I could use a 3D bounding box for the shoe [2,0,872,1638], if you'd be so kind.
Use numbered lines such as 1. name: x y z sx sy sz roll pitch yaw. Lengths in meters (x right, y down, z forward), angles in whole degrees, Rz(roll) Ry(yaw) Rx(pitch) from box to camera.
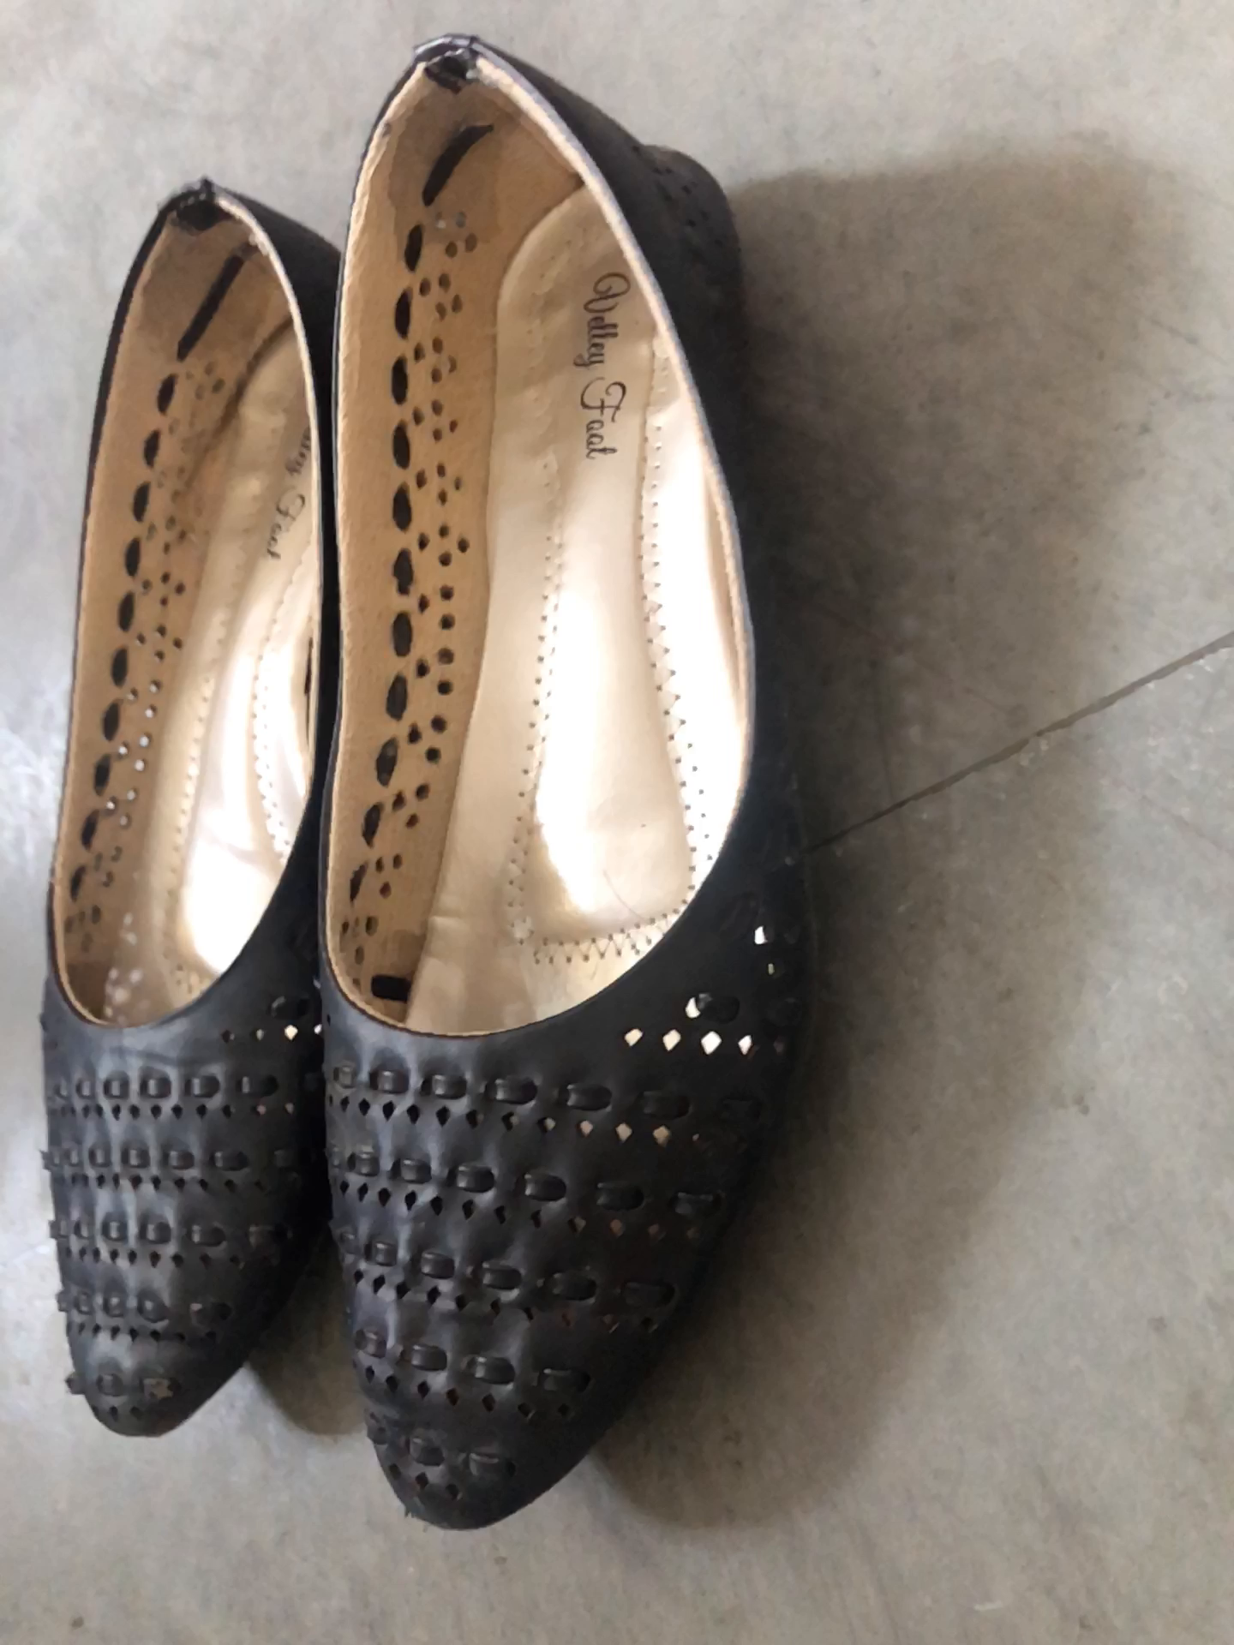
1. shoe: -0.021 -0.033 0.242 0.101 0.070 0.280 -5 73 34

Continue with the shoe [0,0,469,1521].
1. shoe: -0.097 -0.024 0.278 0.101 0.070 0.270 -5 78 34
